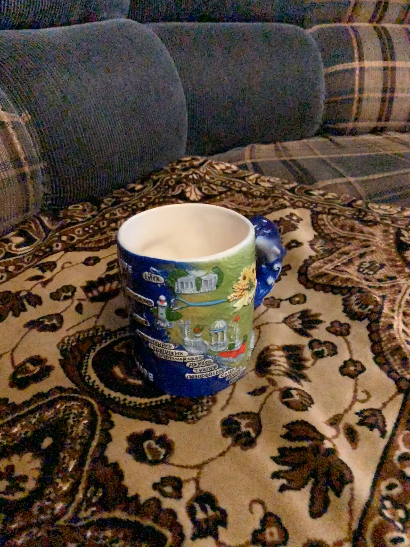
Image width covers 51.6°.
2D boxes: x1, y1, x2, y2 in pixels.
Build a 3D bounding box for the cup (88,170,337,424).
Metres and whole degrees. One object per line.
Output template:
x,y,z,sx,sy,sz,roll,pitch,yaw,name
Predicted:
0.007,0.005,0.291,0.128,0.105,0.090,-24,39,-33,cup
